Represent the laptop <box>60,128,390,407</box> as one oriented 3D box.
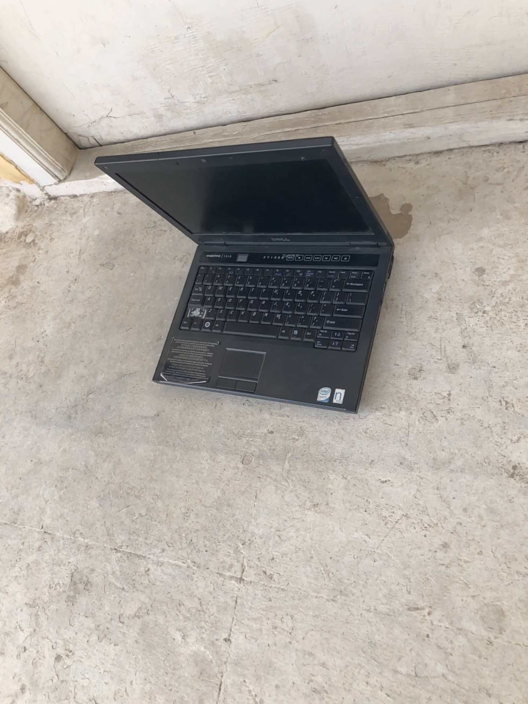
[{"bbox_3d":[-0.035,-0.091,0.704,0.293,0.219,0.214,6,71,29],"label":"laptop"}]
